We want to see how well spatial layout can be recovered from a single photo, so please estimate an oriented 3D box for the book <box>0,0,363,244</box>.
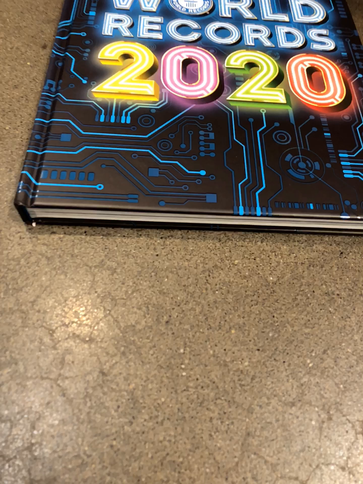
[{"bbox_3d":[0.021,-0.146,0.304,0.240,0.030,0.313,2,60,-4],"label":"book"}]
